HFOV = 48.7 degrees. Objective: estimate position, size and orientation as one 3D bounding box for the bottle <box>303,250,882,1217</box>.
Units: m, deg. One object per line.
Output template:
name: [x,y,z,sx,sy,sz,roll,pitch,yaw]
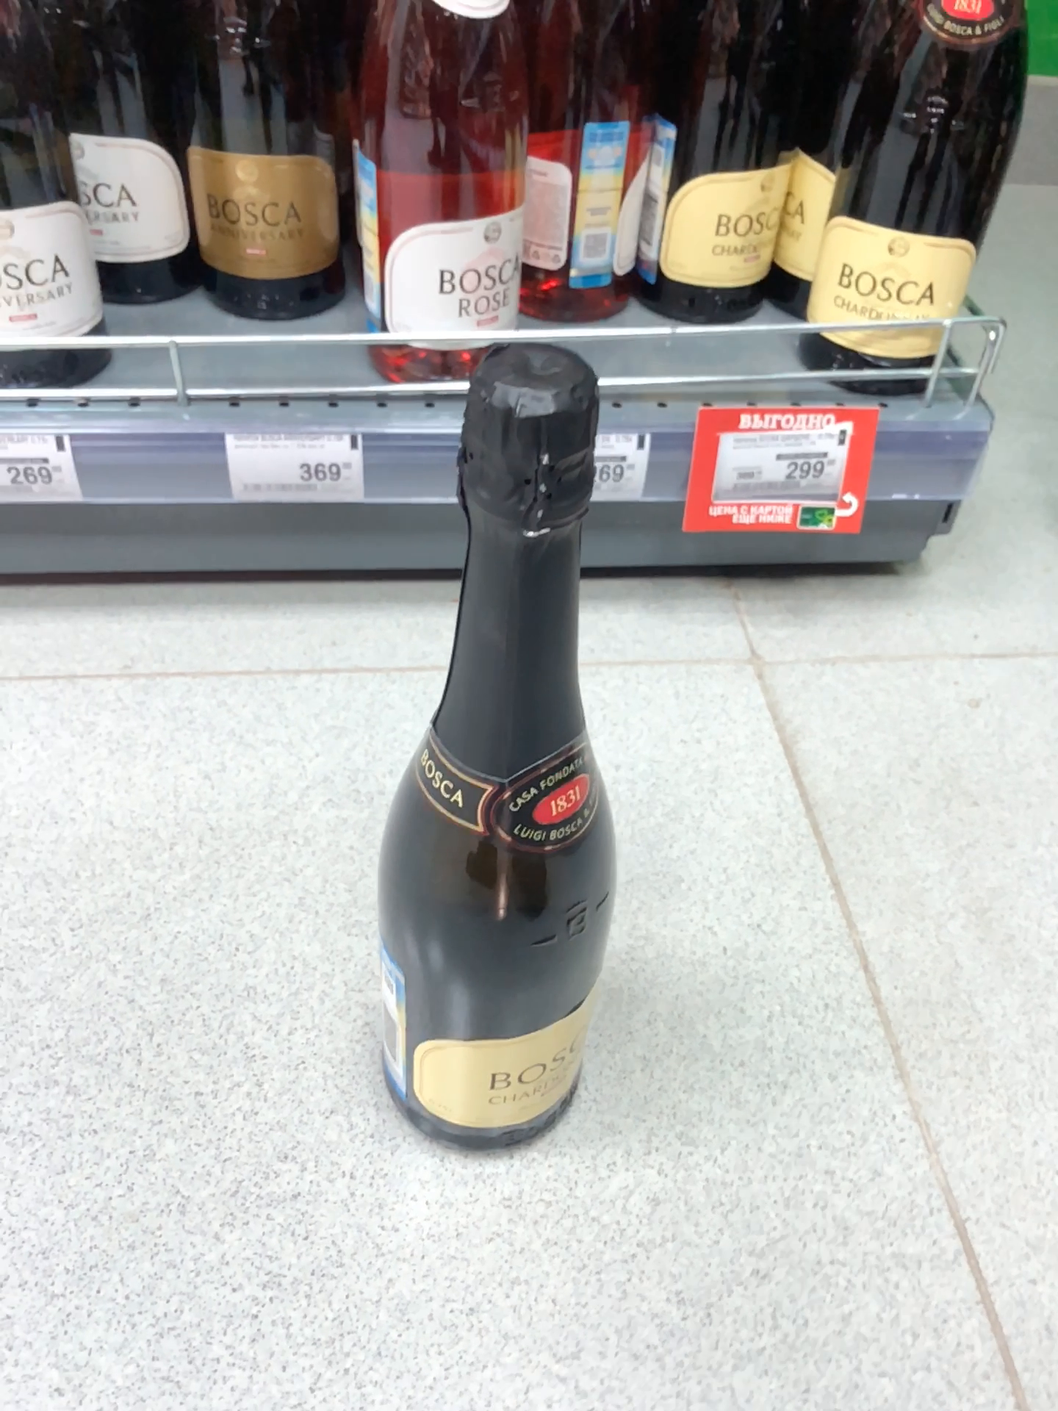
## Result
bottle: [0.003,0.033,0.374,0.100,0.311,0.090,-21,49,-25]
